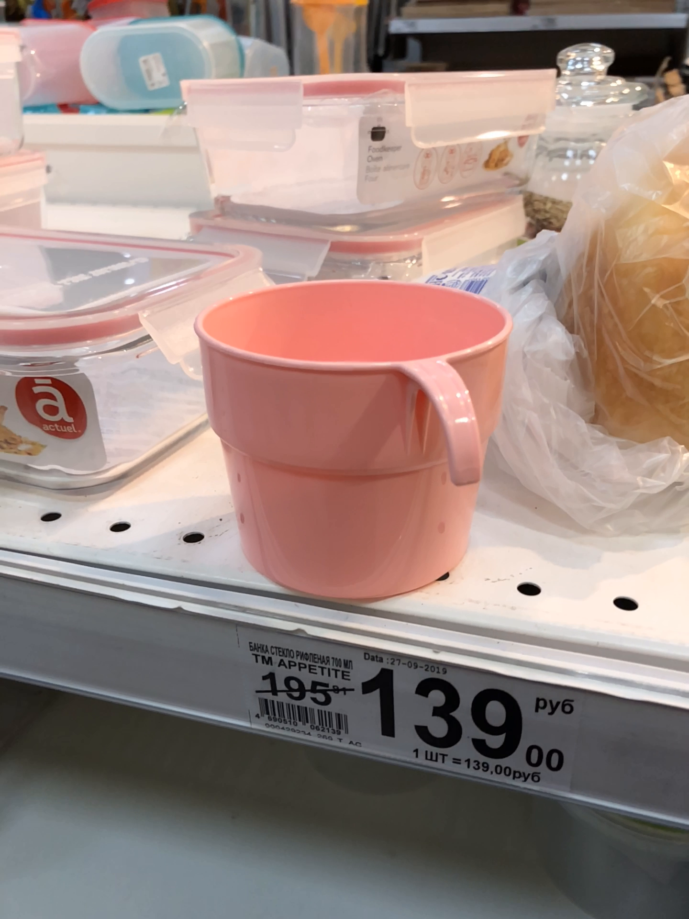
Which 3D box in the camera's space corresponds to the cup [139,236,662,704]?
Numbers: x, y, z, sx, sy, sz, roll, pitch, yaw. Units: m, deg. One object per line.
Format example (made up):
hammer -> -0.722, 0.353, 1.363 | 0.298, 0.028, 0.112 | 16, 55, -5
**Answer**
cup -> 0.005, -0.011, 0.204 | 0.081, 0.070, 0.111 | -14, 30, -27
